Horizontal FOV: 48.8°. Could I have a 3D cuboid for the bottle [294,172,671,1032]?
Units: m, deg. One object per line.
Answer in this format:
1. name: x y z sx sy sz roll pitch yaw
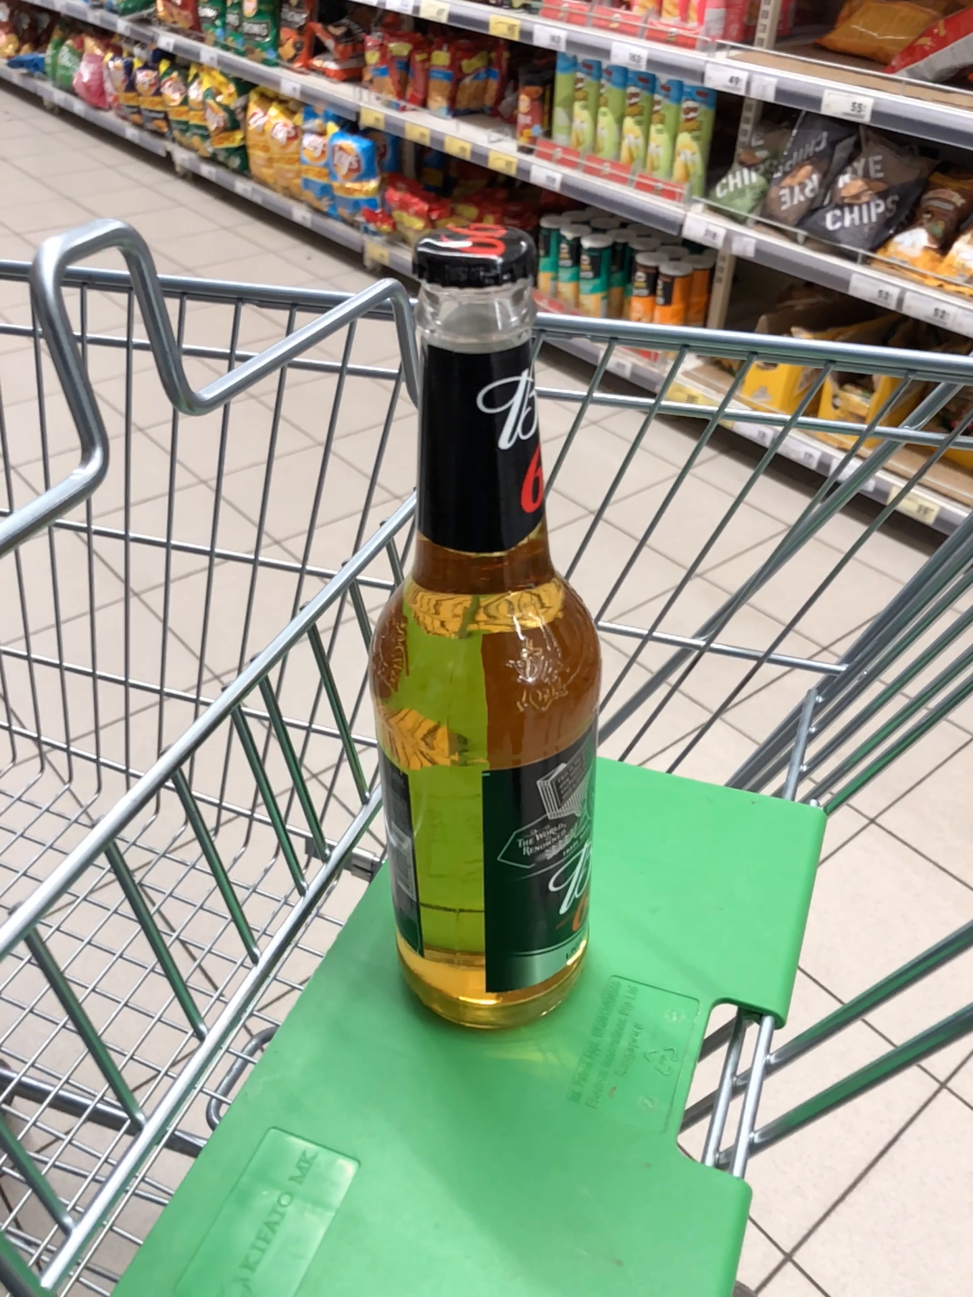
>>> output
1. bottle: 0.005 0.003 0.303 0.070 0.239 0.080 0 38 3
